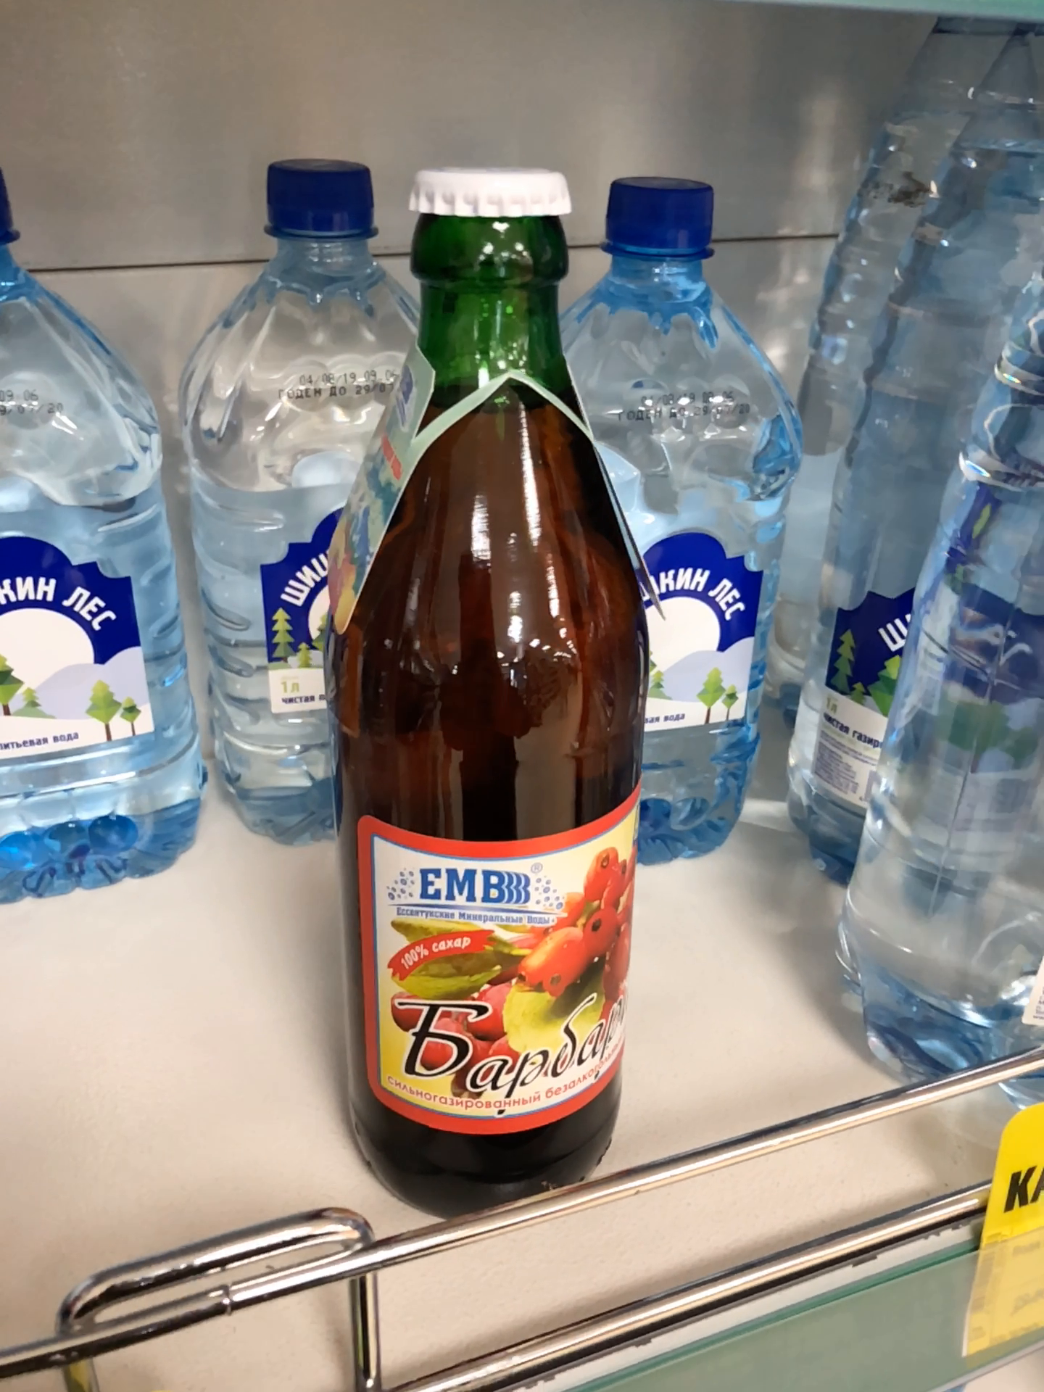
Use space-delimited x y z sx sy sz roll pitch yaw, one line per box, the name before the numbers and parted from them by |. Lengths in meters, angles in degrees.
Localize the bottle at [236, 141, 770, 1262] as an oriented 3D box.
bottle | -0.007 0.010 0.240 0.073 0.222 0.057 -9 29 -17
